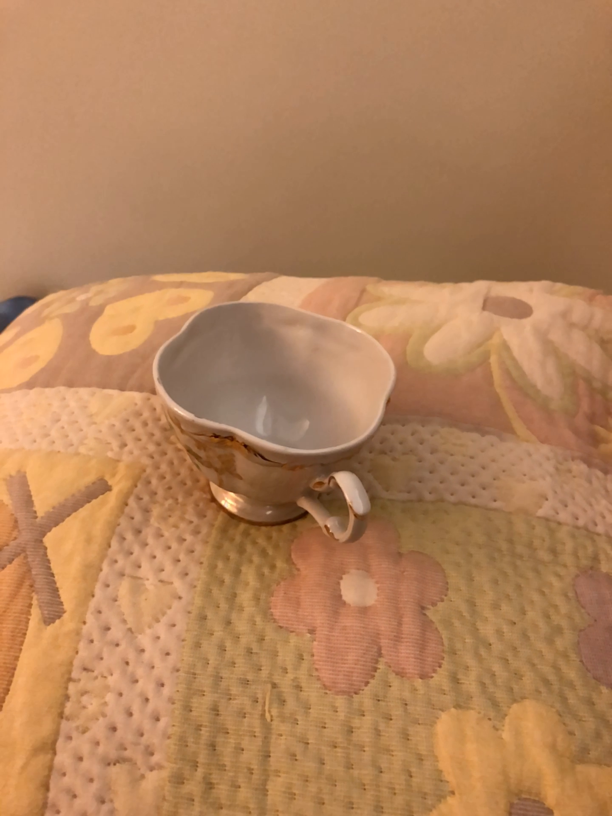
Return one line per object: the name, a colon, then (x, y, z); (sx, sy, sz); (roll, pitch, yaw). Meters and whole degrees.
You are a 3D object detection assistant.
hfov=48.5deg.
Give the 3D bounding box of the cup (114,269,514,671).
cup: (-0.008, 0.012, 0.283); (0.100, 0.070, 0.141); (-14, 43, -26)
